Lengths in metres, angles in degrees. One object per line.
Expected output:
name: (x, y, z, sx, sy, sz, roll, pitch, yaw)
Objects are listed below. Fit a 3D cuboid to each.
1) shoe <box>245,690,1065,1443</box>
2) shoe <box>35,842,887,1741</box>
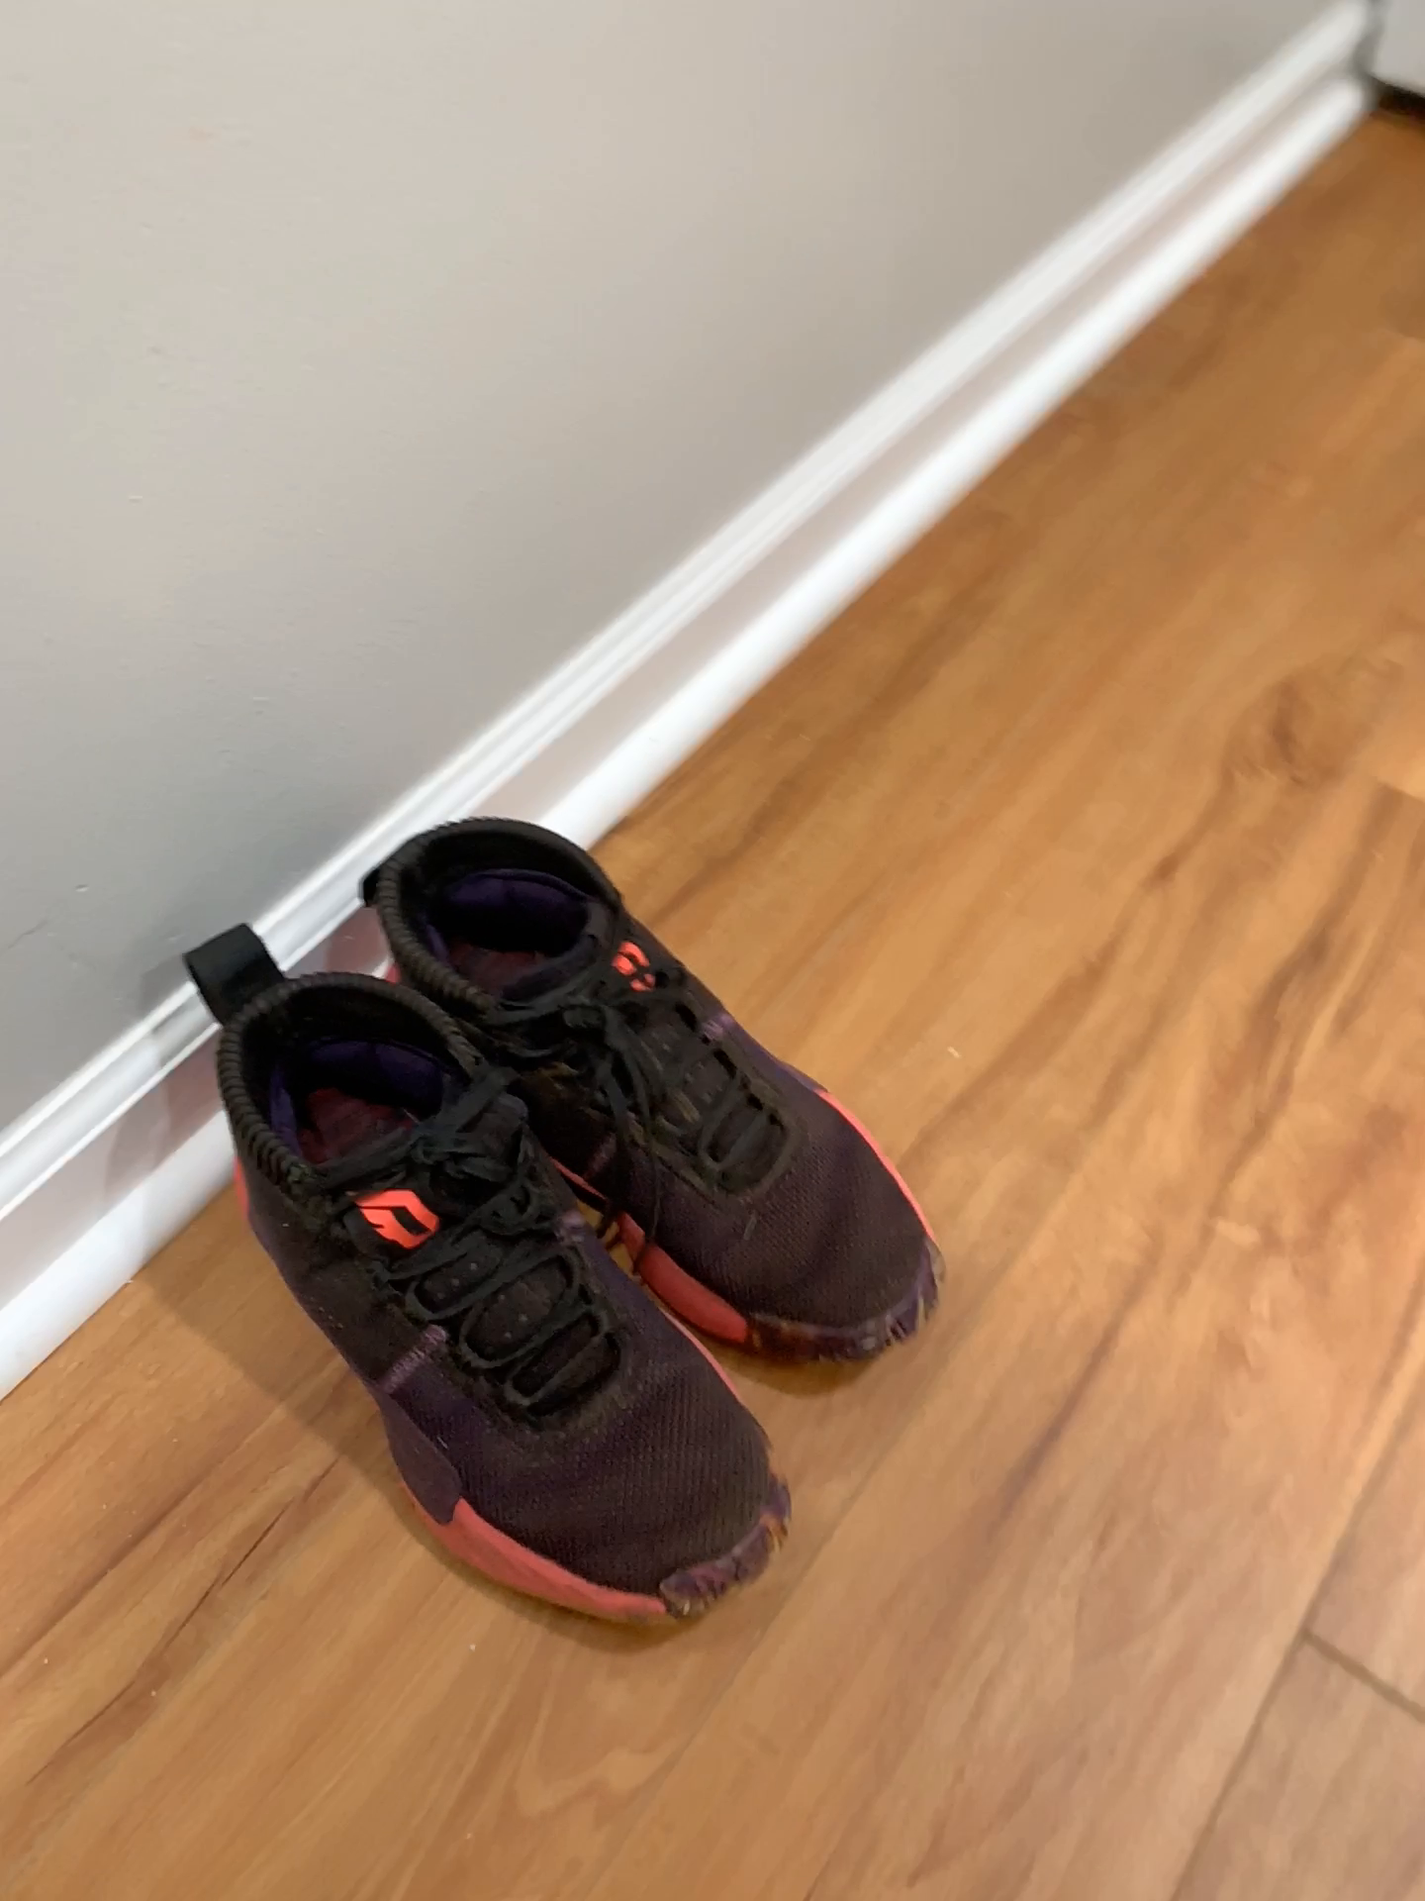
shoe: (-0.027, 0.038, 0.576, 0.286, 0.131, 0.120, 31, 59, 23)
shoe: (-0.091, 0.111, 0.521, 0.286, 0.131, 0.120, 37, 62, 26)
